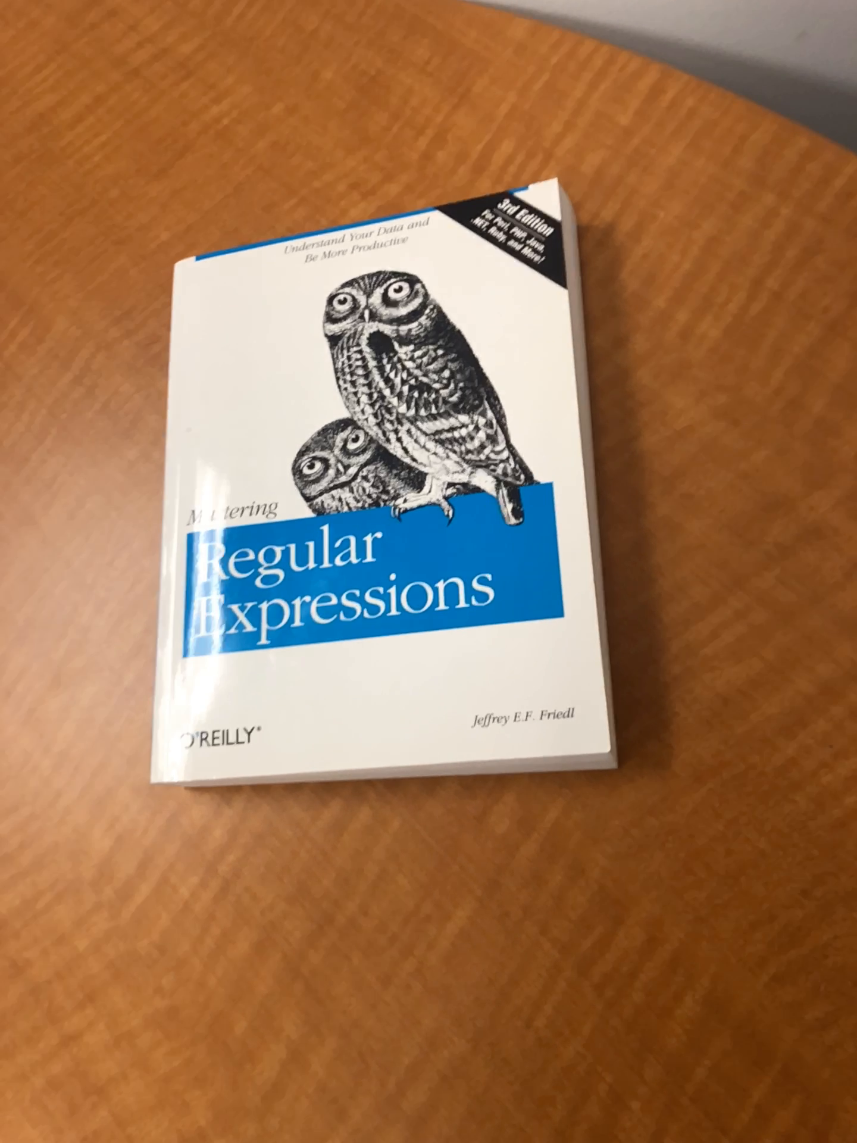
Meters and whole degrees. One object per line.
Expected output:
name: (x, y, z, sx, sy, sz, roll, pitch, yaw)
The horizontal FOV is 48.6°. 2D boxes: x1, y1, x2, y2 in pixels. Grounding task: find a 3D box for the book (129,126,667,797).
book: (-0.017, -0.044, 0.397, 0.200, 0.040, 0.260, -6, 72, 14)
